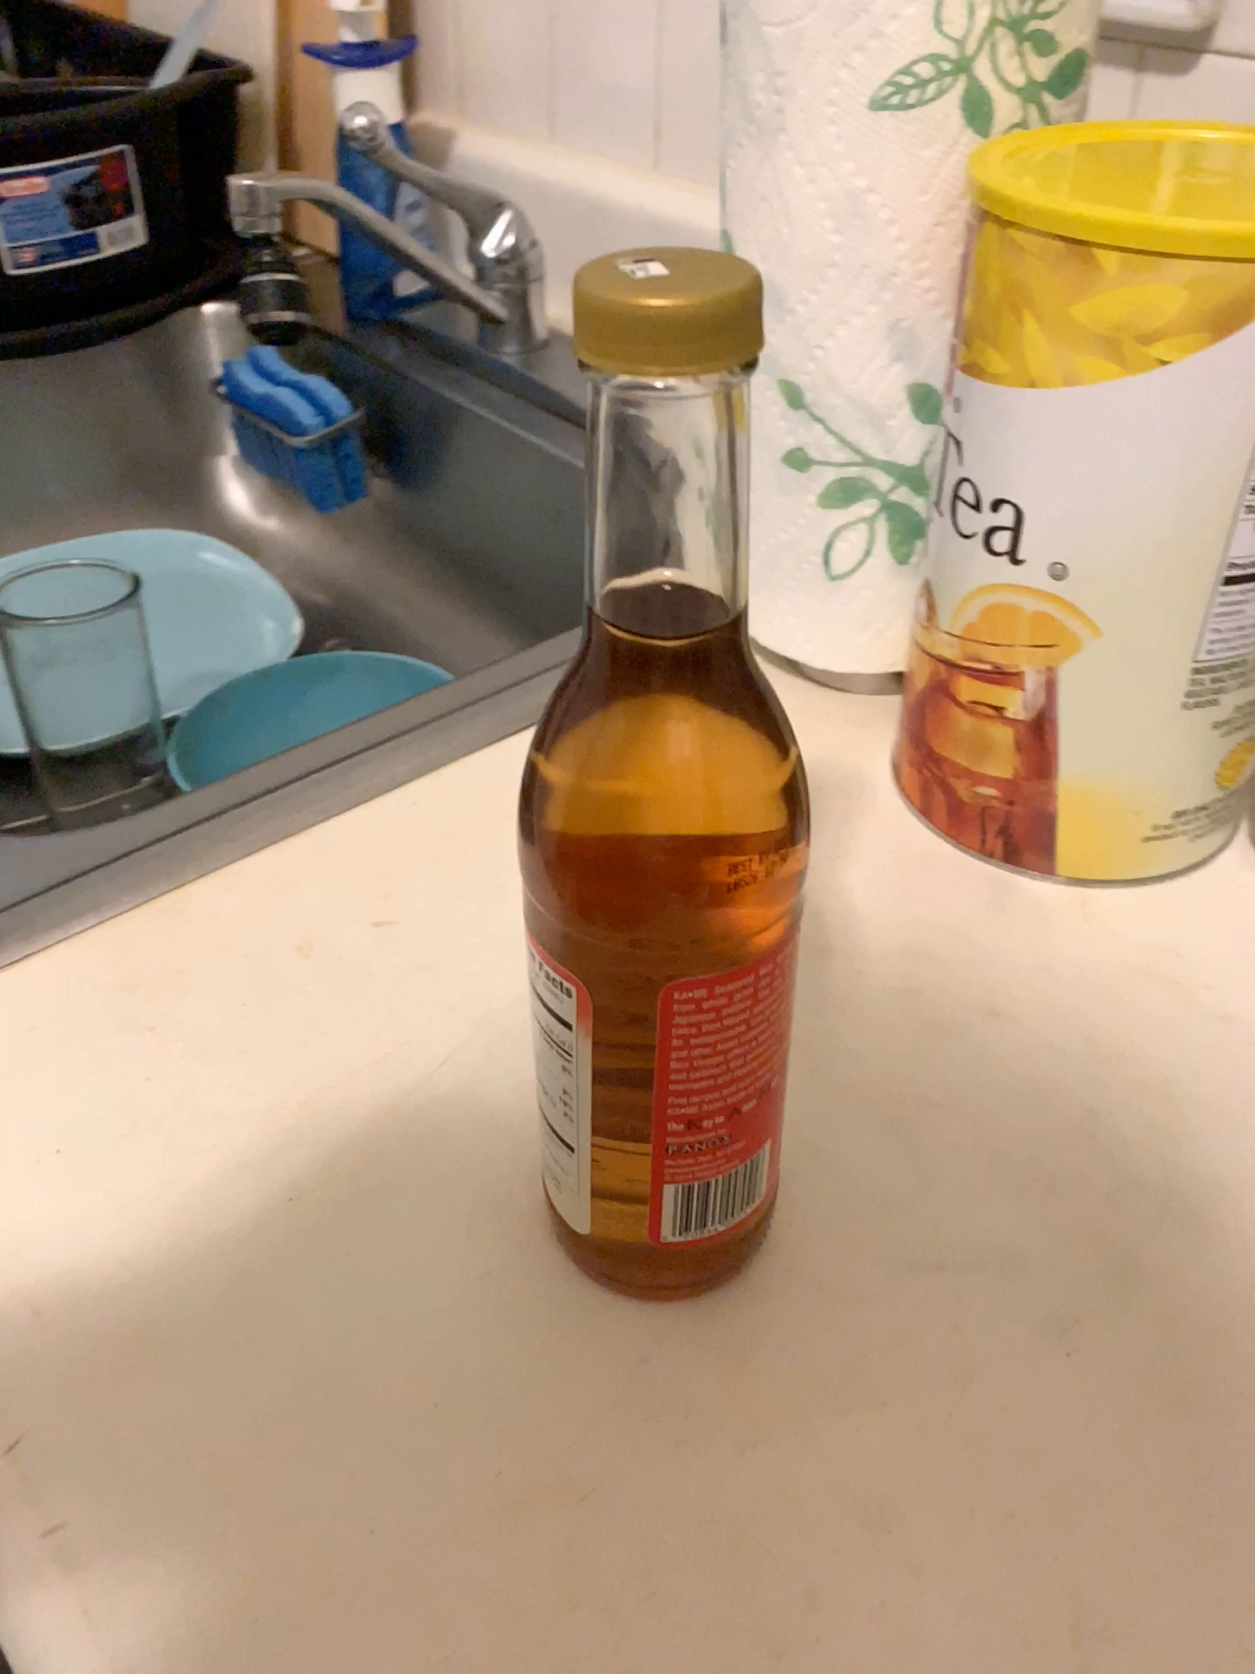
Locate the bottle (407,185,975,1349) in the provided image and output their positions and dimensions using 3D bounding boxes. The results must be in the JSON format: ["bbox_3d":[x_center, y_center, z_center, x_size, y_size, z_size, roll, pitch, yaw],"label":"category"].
[{"bbox_3d":[0.005,0.005,0.271,0.070,0.239,0.070,0,39,0],"label":"bottle"}]
